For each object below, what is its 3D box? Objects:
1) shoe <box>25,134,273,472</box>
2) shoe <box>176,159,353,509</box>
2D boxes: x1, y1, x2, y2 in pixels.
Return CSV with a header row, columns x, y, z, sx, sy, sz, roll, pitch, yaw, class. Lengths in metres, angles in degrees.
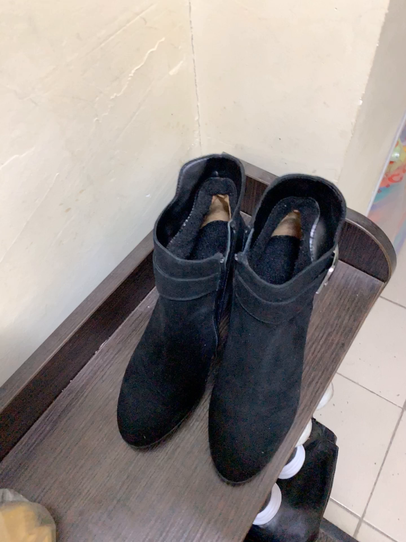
x,y,z,sx,sy,sz,roll,pitch,yaw,class
-0.021,0.032,0.390,0.088,0.189,0.241,18,59,15,shoe
0.060,0.059,0.373,0.088,0.189,0.241,10,57,10,shoe
